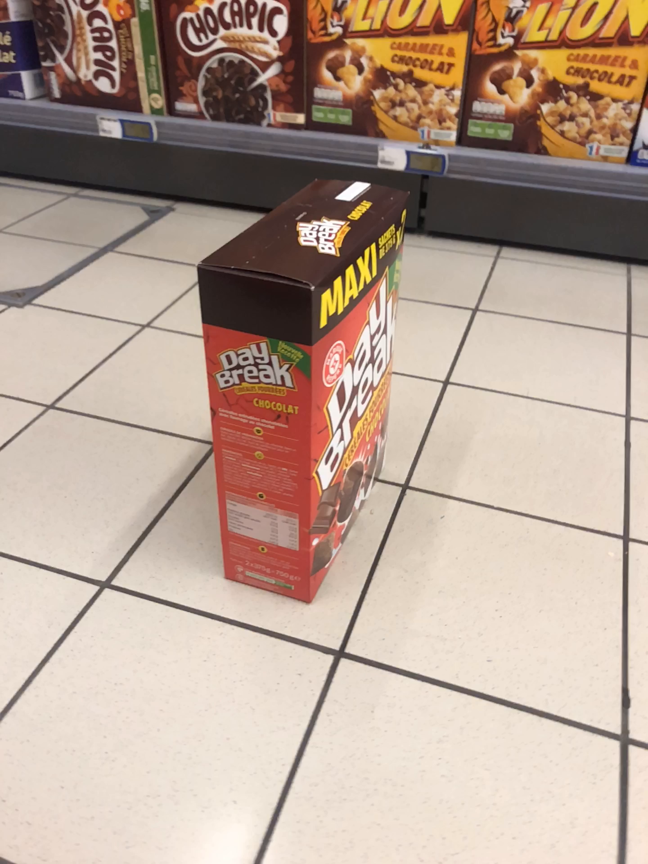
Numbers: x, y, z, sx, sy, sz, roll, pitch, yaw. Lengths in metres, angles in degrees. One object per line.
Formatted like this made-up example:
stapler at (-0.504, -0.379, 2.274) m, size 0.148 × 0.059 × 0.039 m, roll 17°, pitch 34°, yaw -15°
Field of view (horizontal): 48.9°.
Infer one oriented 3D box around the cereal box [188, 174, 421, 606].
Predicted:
cereal box at (-0.005, -0.037, 0.585) m, size 0.090 × 0.278 × 0.201 m, roll 14°, pitch 38°, yaw 18°
